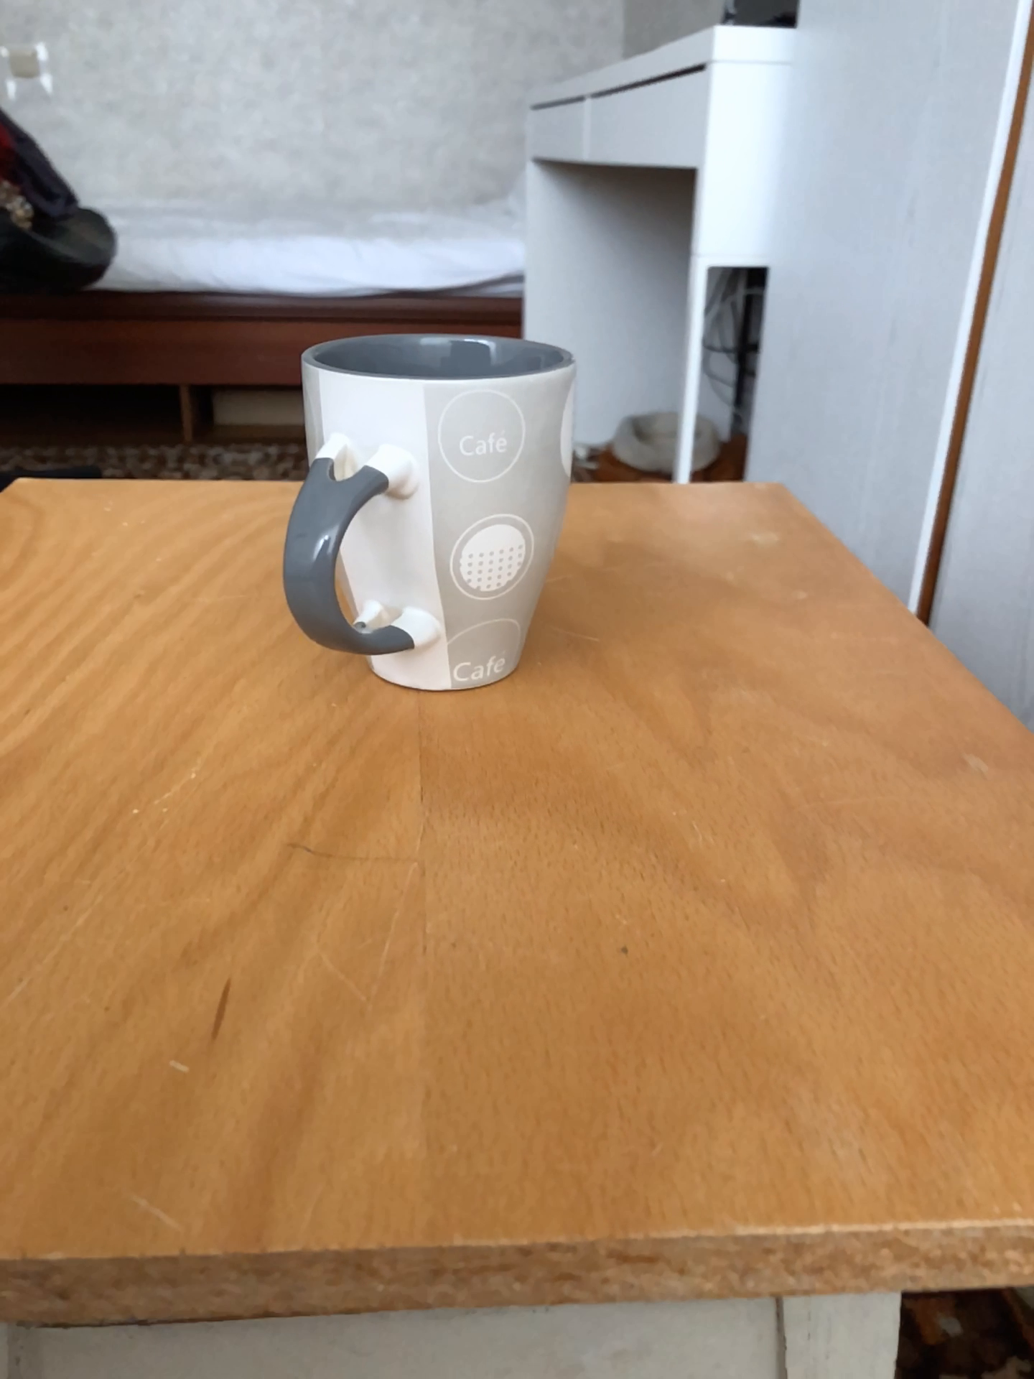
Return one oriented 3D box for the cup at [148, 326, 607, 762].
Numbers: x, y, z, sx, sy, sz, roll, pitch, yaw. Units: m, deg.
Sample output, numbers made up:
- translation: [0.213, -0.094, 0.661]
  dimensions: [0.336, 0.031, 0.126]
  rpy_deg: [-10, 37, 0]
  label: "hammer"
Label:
- translation: [-0.032, -0.054, 0.348]
  dimensions: [0.084, 0.093, 0.127]
  rpy_deg: [9, 25, 18]
  label: "cup"
